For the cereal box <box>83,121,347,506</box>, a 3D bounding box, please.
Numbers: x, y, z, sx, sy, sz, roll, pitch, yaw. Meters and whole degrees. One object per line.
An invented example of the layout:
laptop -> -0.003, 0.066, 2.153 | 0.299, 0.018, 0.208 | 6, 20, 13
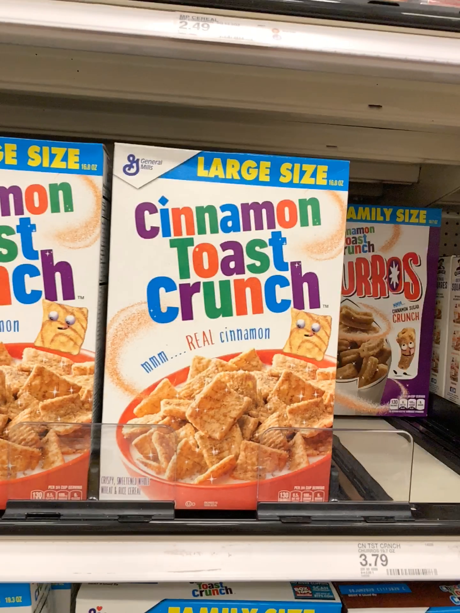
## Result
cereal box -> -0.014, 0.009, 0.399 | 0.190, 0.290, 0.070 | 3, 2, -5
